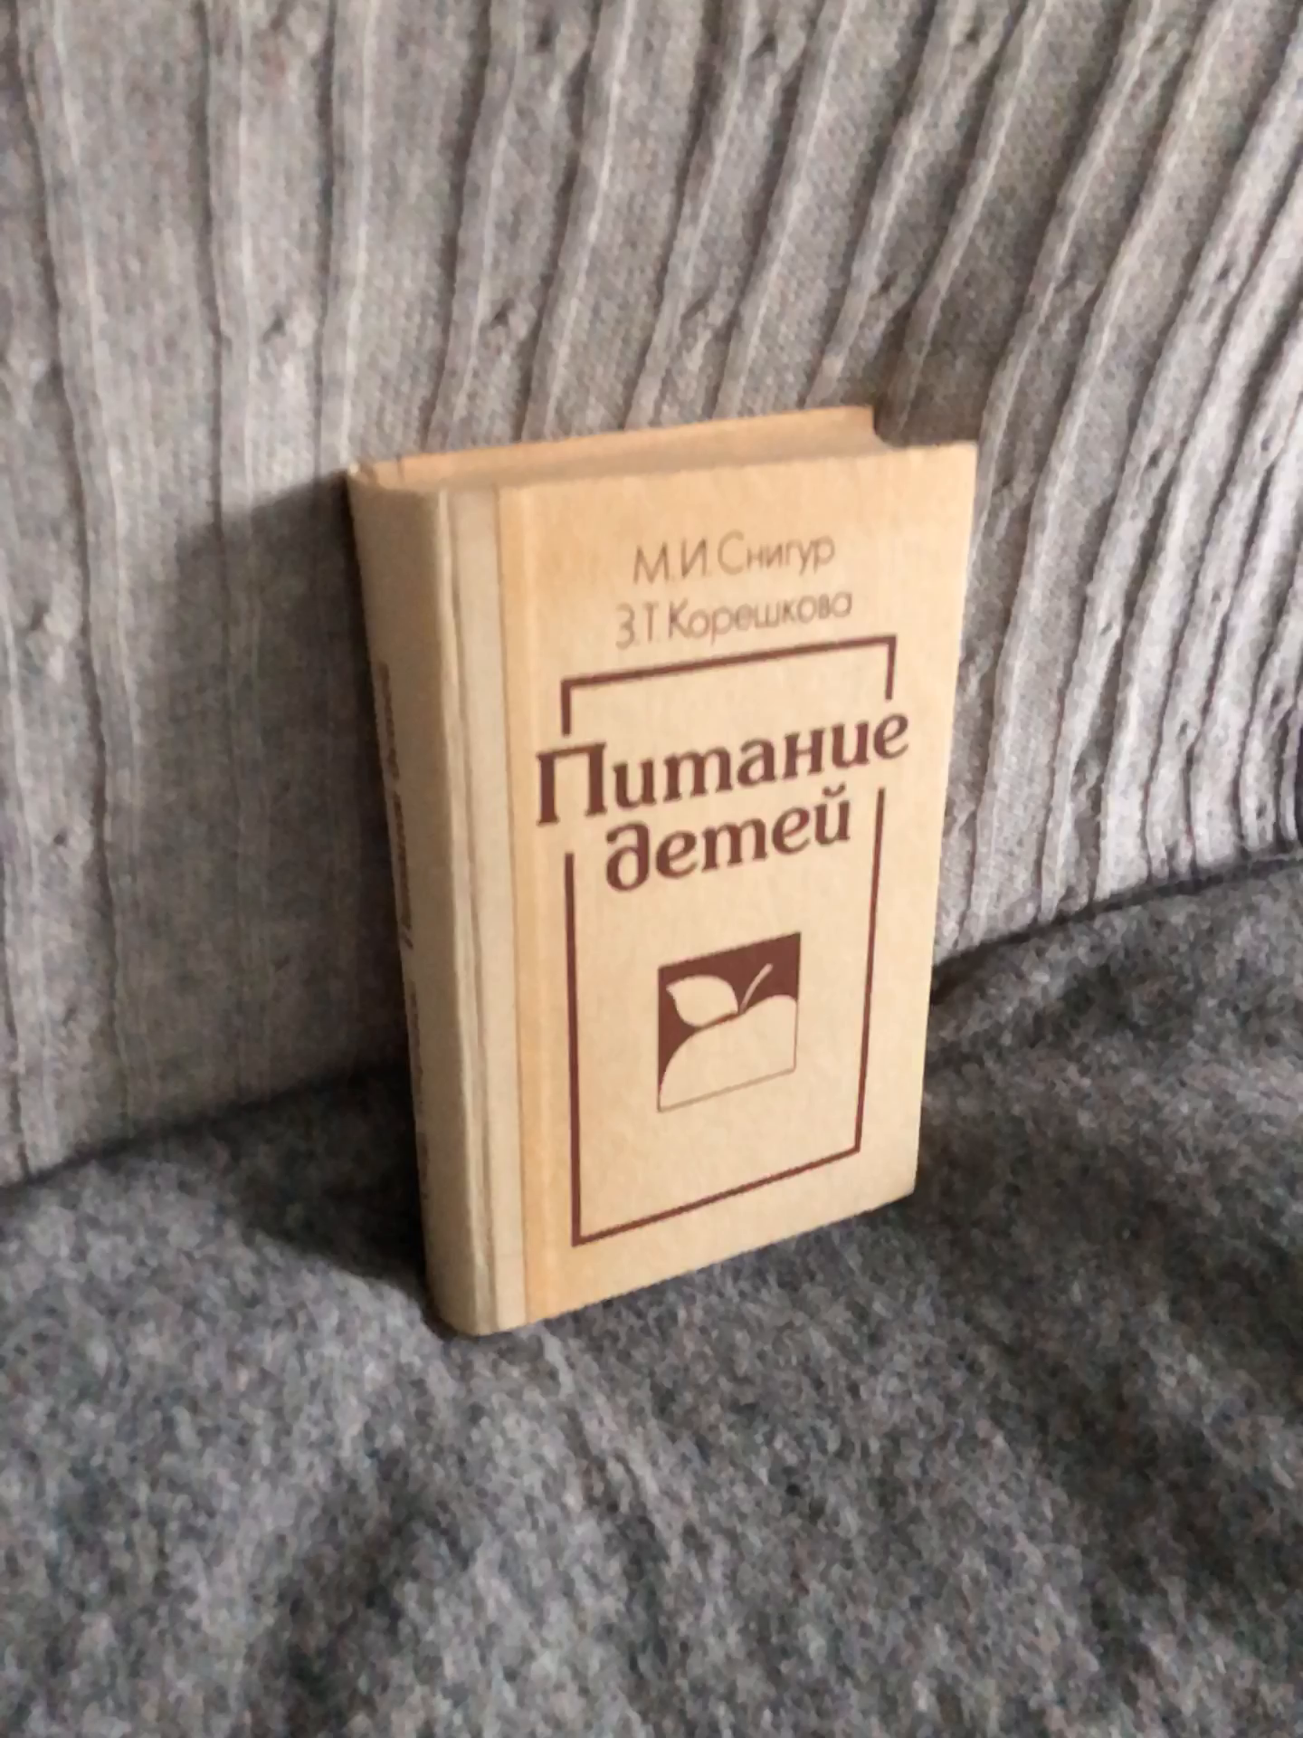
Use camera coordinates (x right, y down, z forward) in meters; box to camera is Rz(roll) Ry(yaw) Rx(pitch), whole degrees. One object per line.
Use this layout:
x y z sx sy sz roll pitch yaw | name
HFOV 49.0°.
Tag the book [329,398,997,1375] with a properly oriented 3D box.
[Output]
0.008 0.004 0.348 0.140 0.212 0.041 -14 29 -26 | book
